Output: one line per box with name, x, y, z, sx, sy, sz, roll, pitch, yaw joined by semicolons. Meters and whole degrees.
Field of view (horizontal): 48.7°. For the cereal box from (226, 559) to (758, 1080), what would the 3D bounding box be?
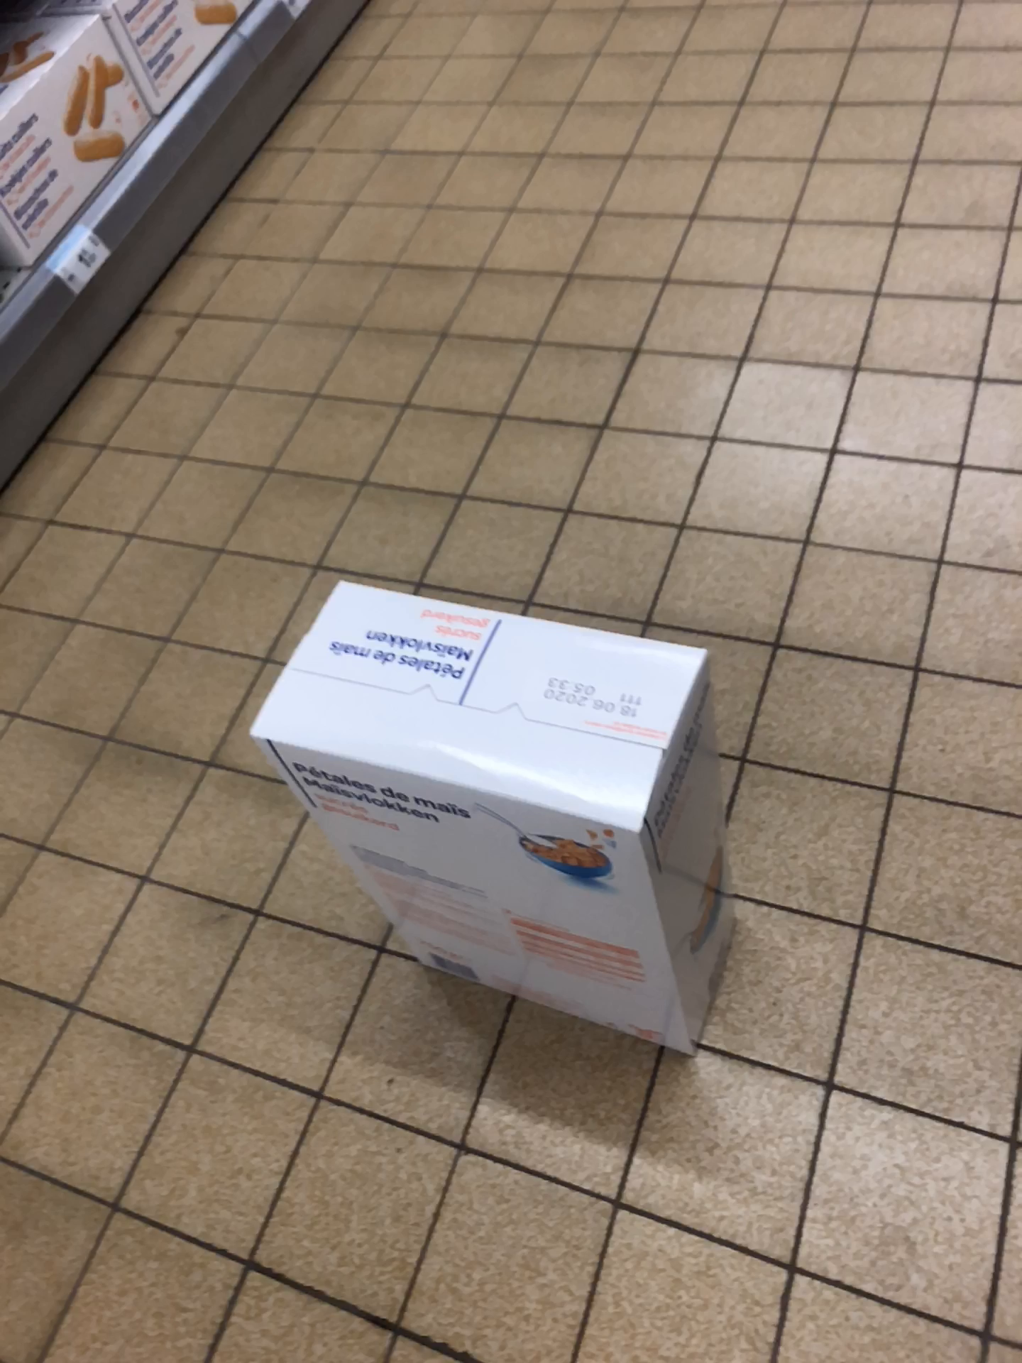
cereal box;0.015;0.088;0.610;0.200;0.299;0.110;12;60;22
